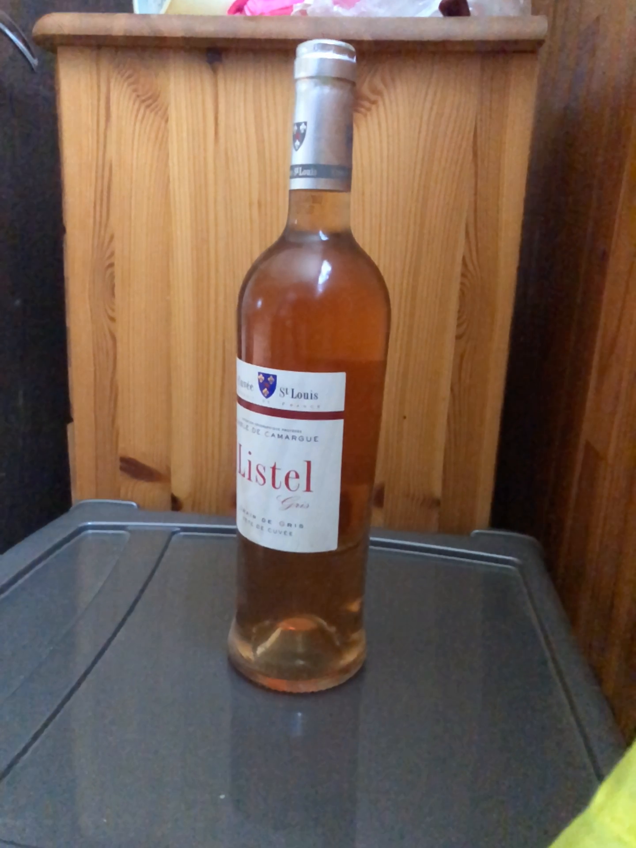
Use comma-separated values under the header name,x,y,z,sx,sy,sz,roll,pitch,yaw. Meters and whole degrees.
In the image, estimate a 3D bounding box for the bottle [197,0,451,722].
name,x,y,z,sx,sy,sz,roll,pitch,yaw
bottle,-0.002,-0.025,0.353,0.080,0.319,0.080,3,15,-1
